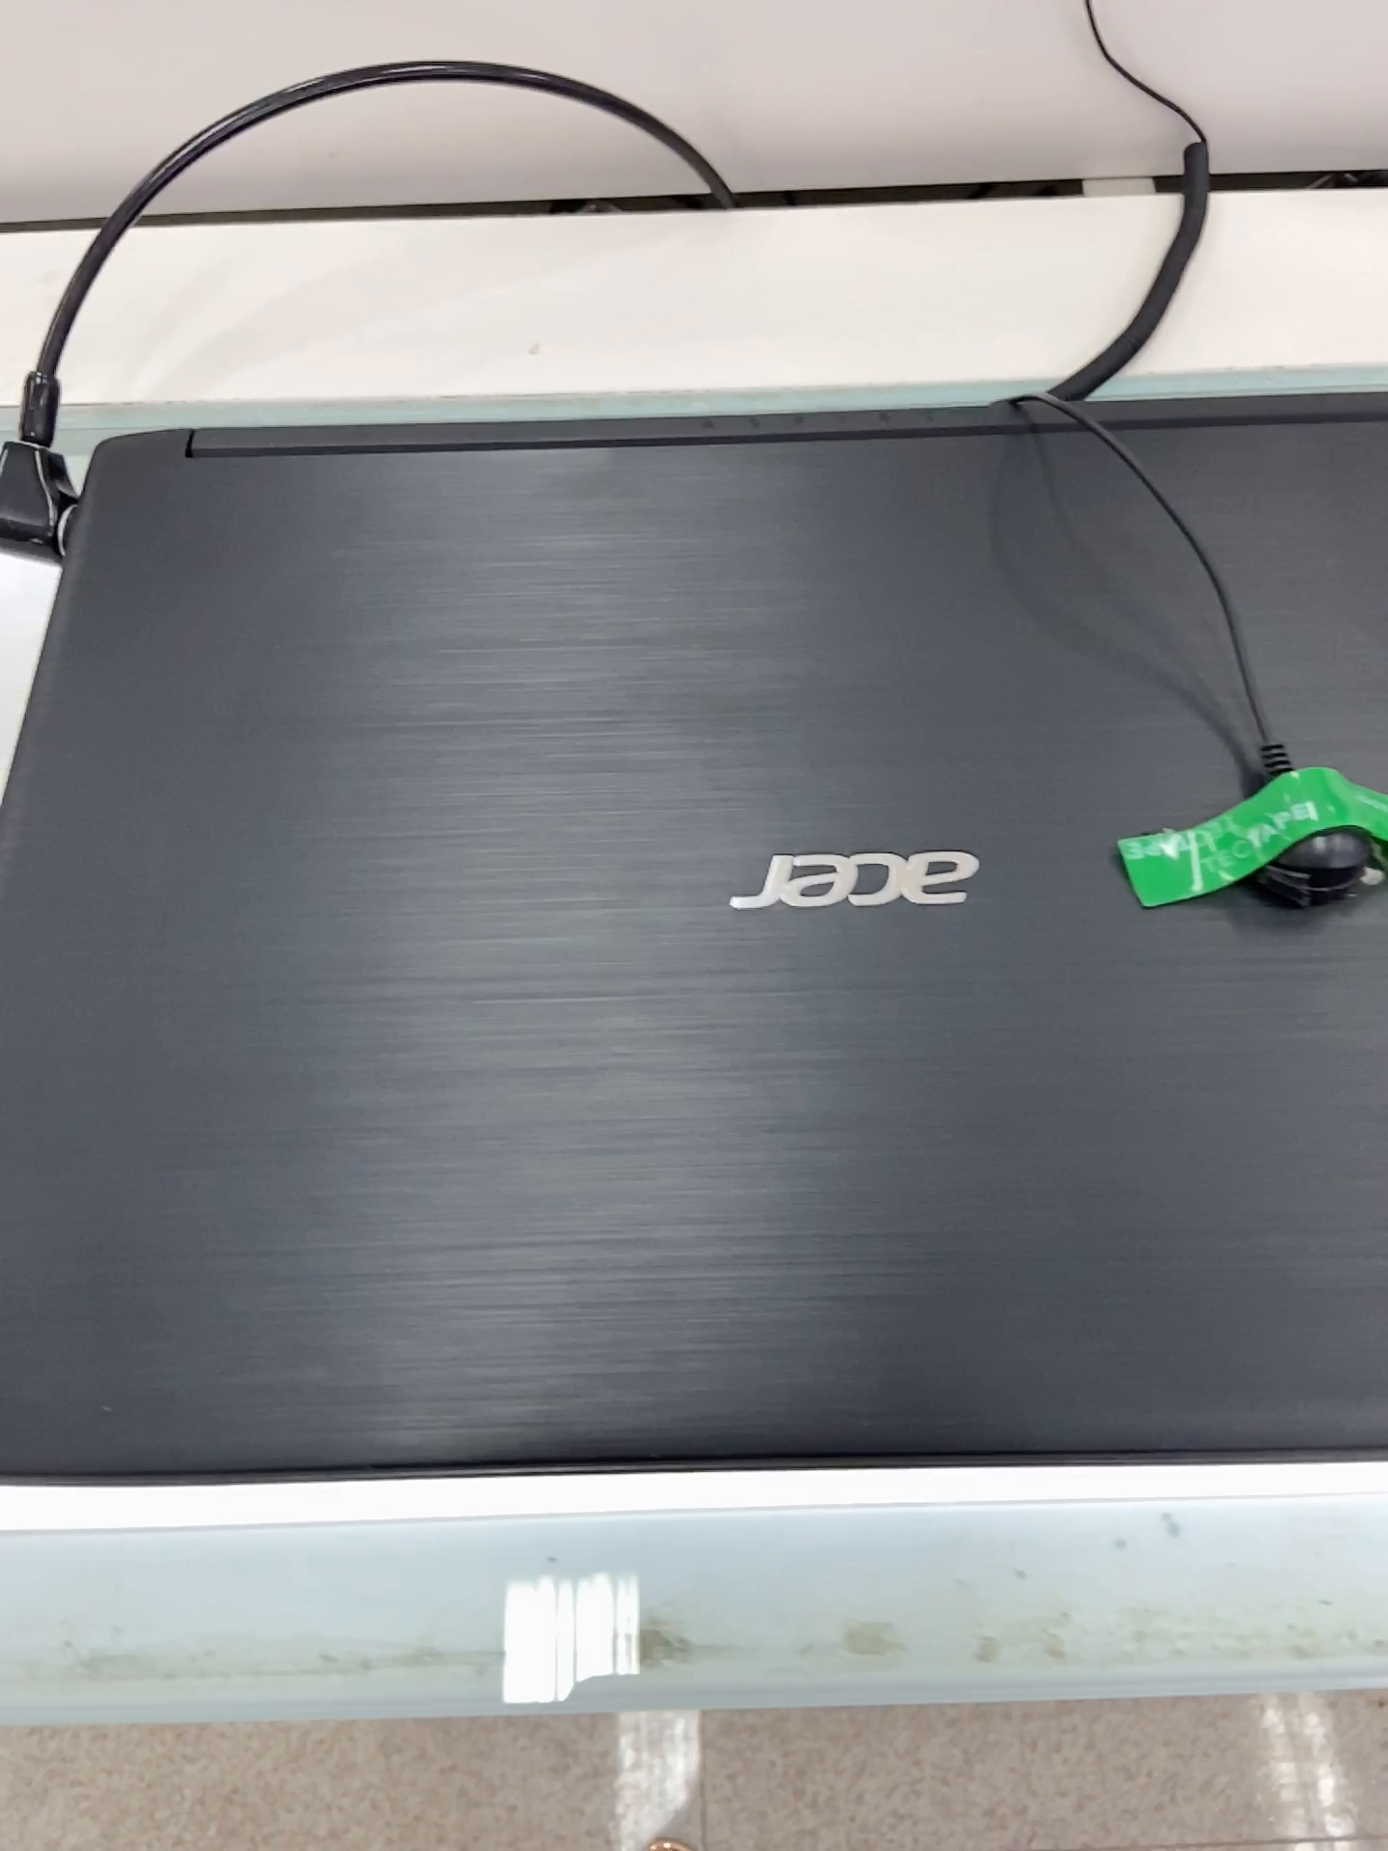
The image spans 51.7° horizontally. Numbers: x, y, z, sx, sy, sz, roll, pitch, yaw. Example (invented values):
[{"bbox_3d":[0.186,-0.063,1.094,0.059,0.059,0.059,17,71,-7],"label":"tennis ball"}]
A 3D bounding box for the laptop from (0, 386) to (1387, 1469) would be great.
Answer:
[{"bbox_3d":[0.041,-0.021,0.310,0.386,0.001,0.248,-2,62,1],"label":"laptop"}]
